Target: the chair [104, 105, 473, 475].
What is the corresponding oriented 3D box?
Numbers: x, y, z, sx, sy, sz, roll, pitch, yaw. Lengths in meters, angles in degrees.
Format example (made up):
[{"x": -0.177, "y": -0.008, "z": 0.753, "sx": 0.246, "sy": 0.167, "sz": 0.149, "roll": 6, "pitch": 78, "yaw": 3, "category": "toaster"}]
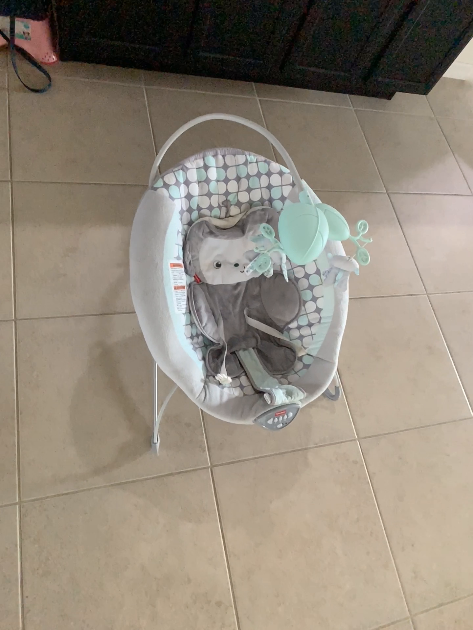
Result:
[{"x": 0.062, "y": -0.035, "z": 1.091, "sx": 0.573, "sy": 0.580, "sz": 0.546, "roll": -9, "pitch": 68, "yaw": -23, "category": "chair"}]
